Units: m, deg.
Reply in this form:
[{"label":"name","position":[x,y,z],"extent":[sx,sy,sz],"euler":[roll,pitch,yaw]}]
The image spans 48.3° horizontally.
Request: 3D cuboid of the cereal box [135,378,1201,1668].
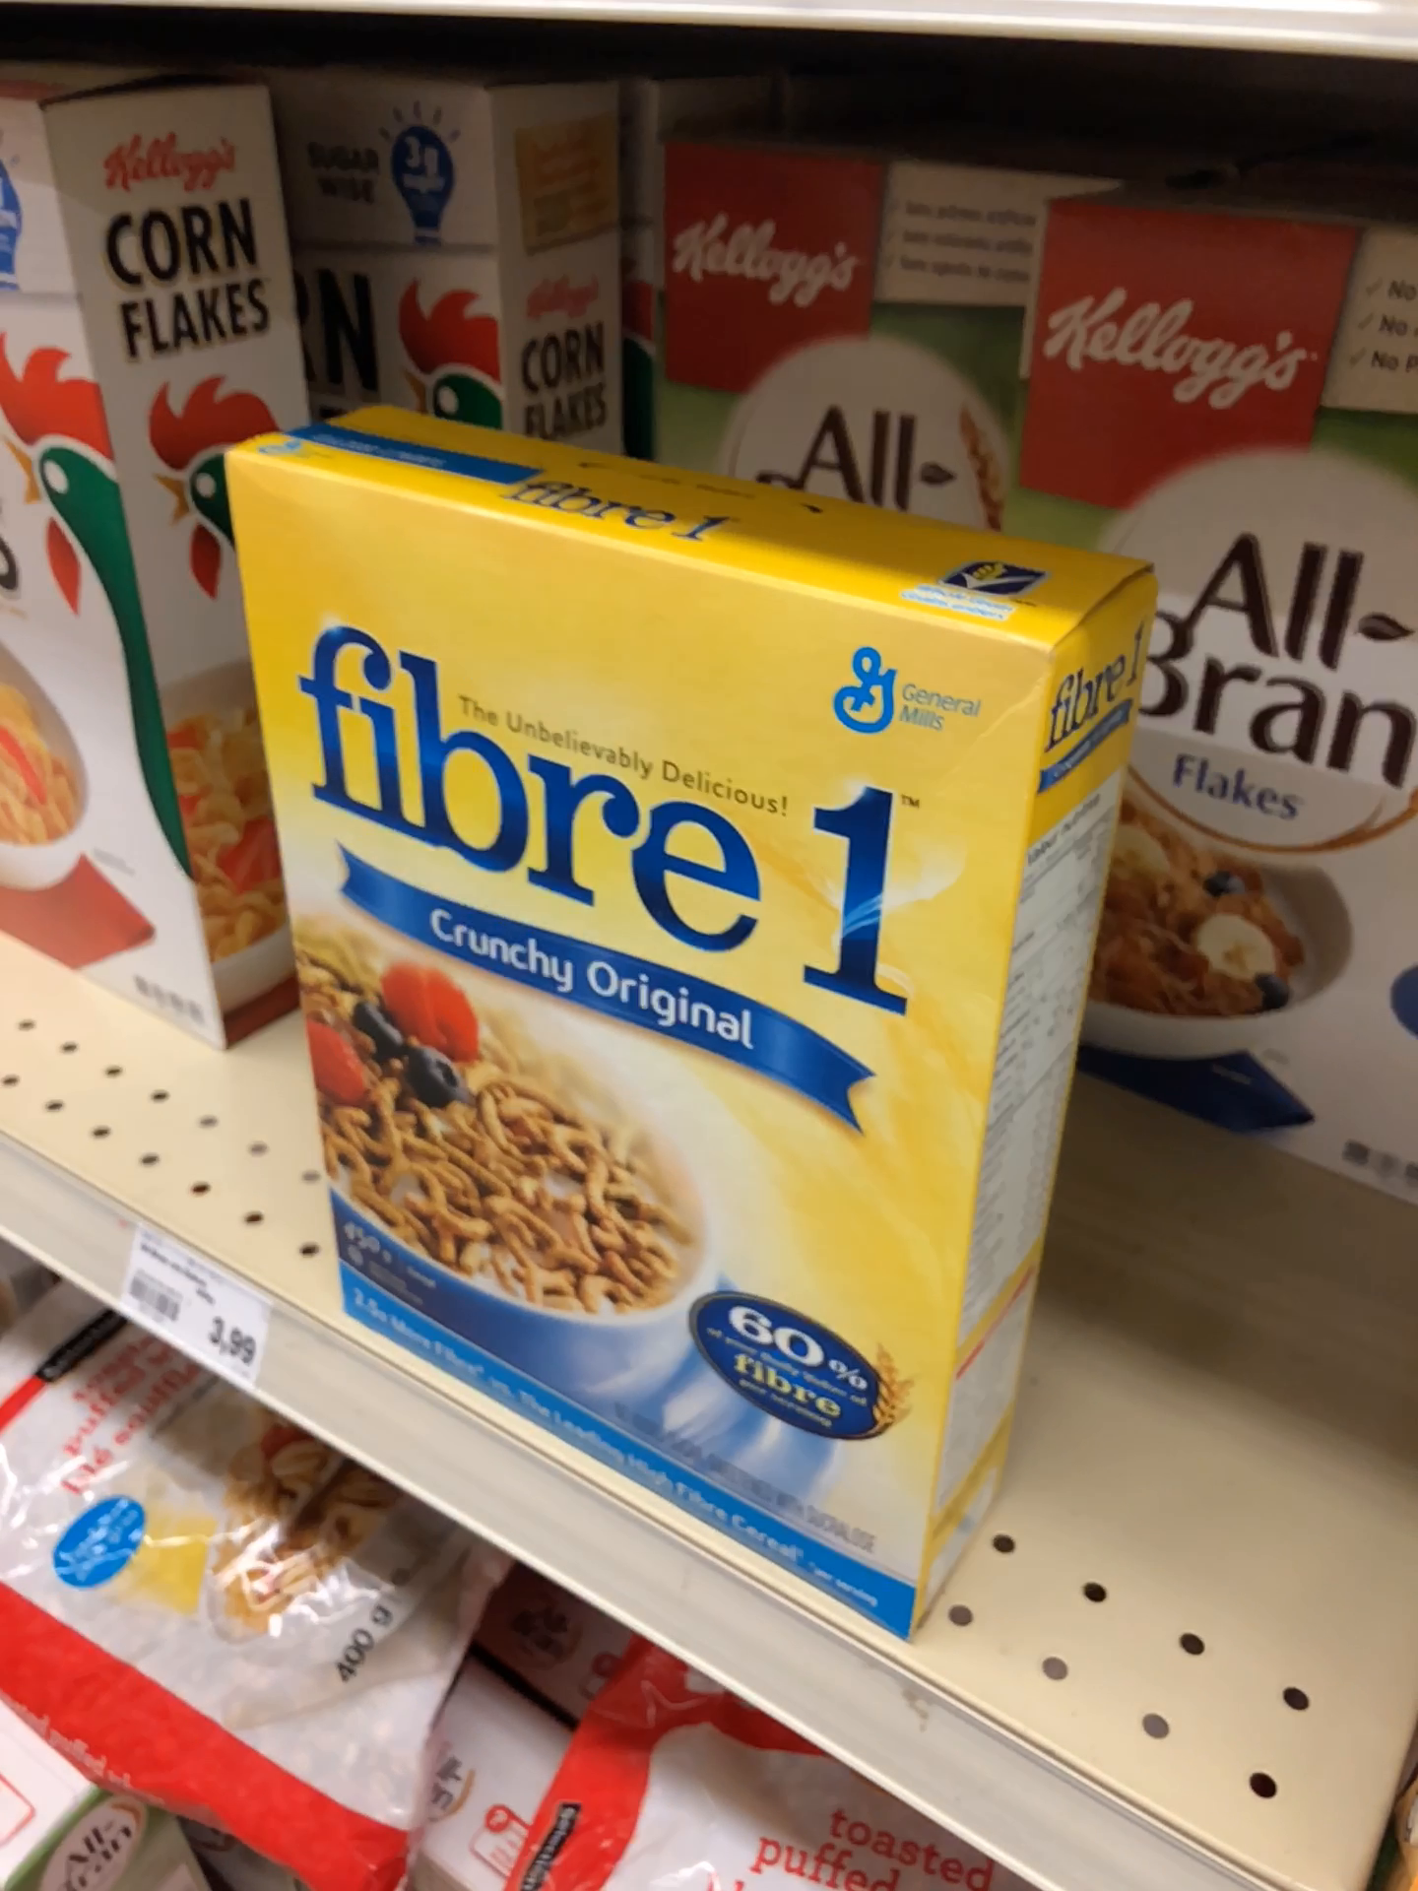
[{"label":"cereal box","position":[-0.019,0.016,0.371],"extent":[0.210,0.248,0.060],"euler":[20,37,28]}]
